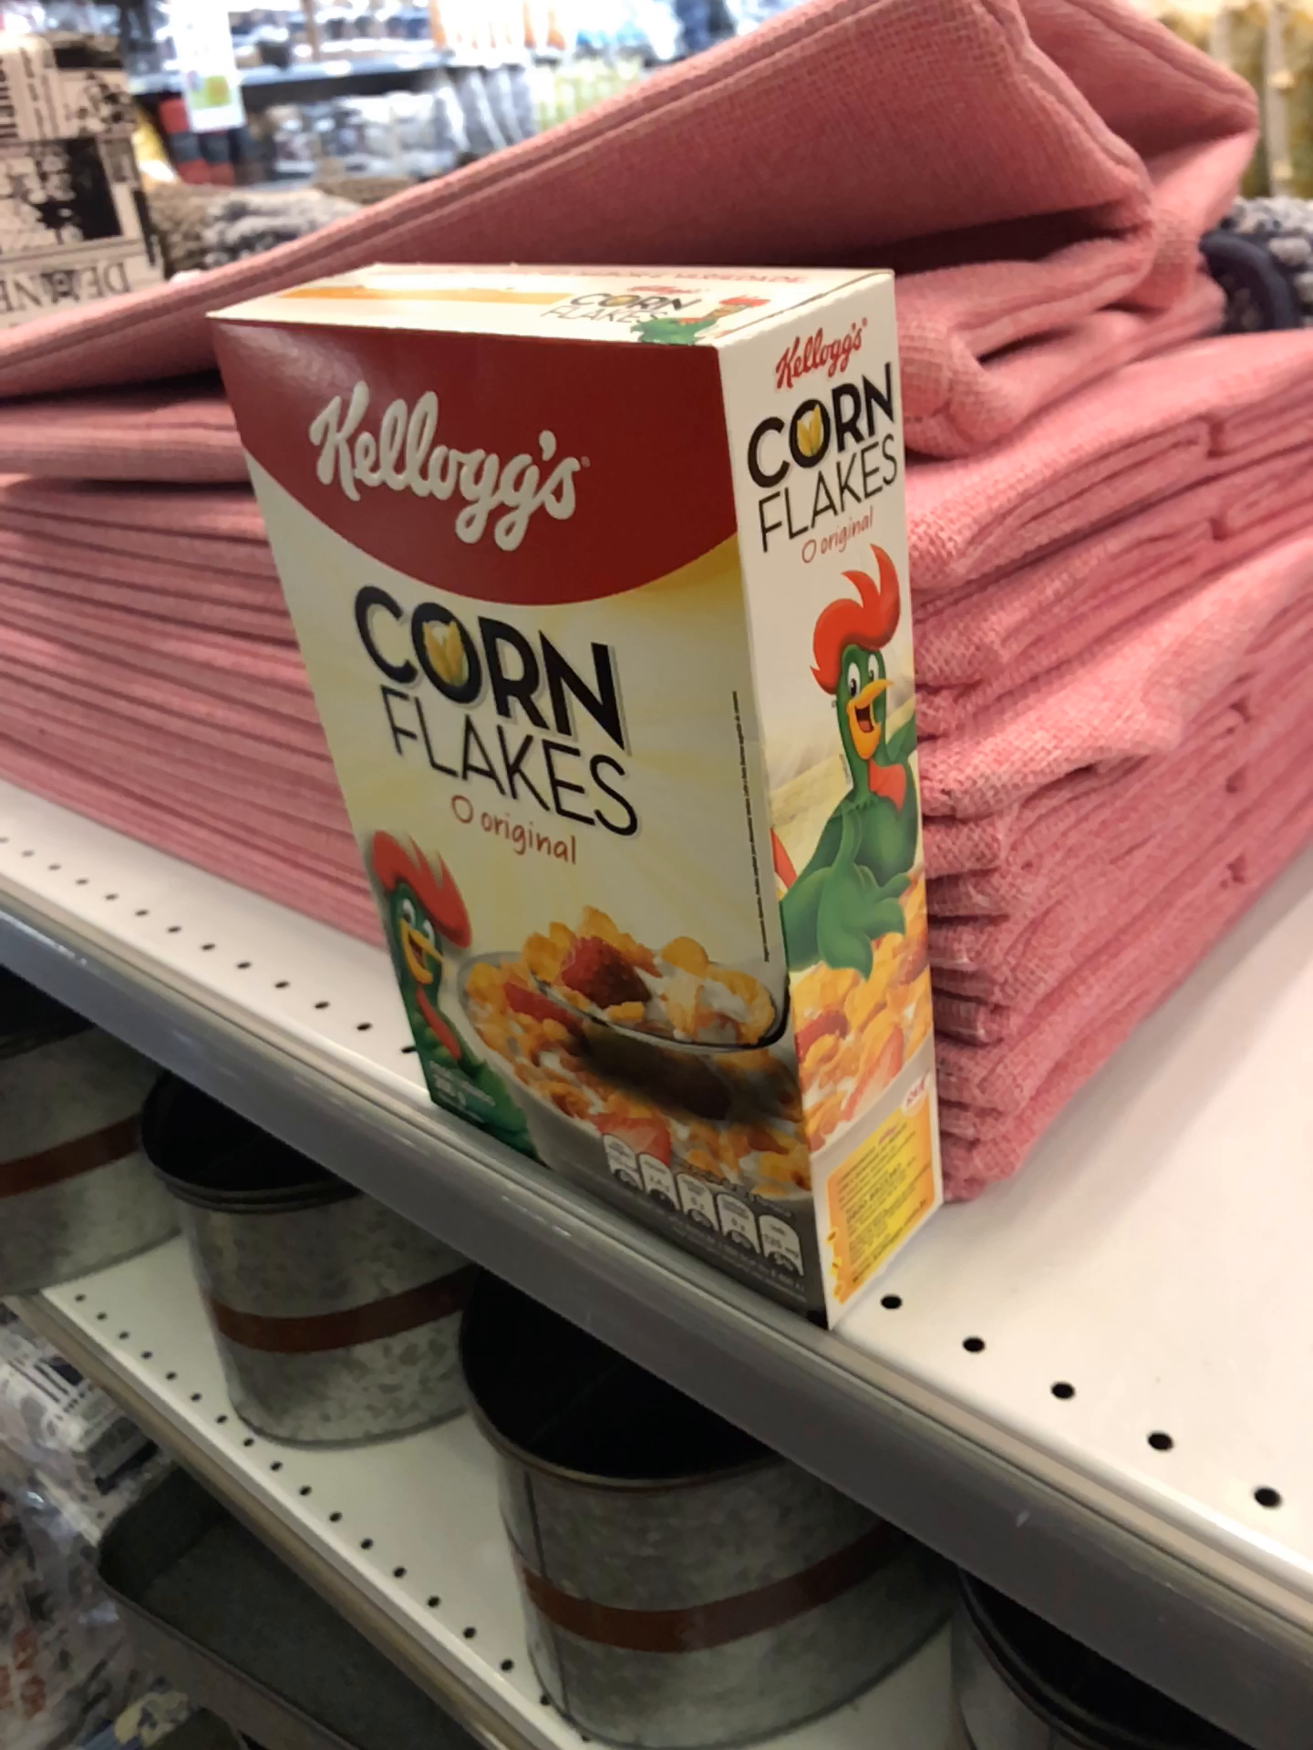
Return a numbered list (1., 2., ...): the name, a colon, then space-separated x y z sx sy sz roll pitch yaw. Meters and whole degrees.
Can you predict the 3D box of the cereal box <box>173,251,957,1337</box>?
1. cereal box: -0.018 -0.025 0.396 0.181 0.258 0.060 20 42 39
